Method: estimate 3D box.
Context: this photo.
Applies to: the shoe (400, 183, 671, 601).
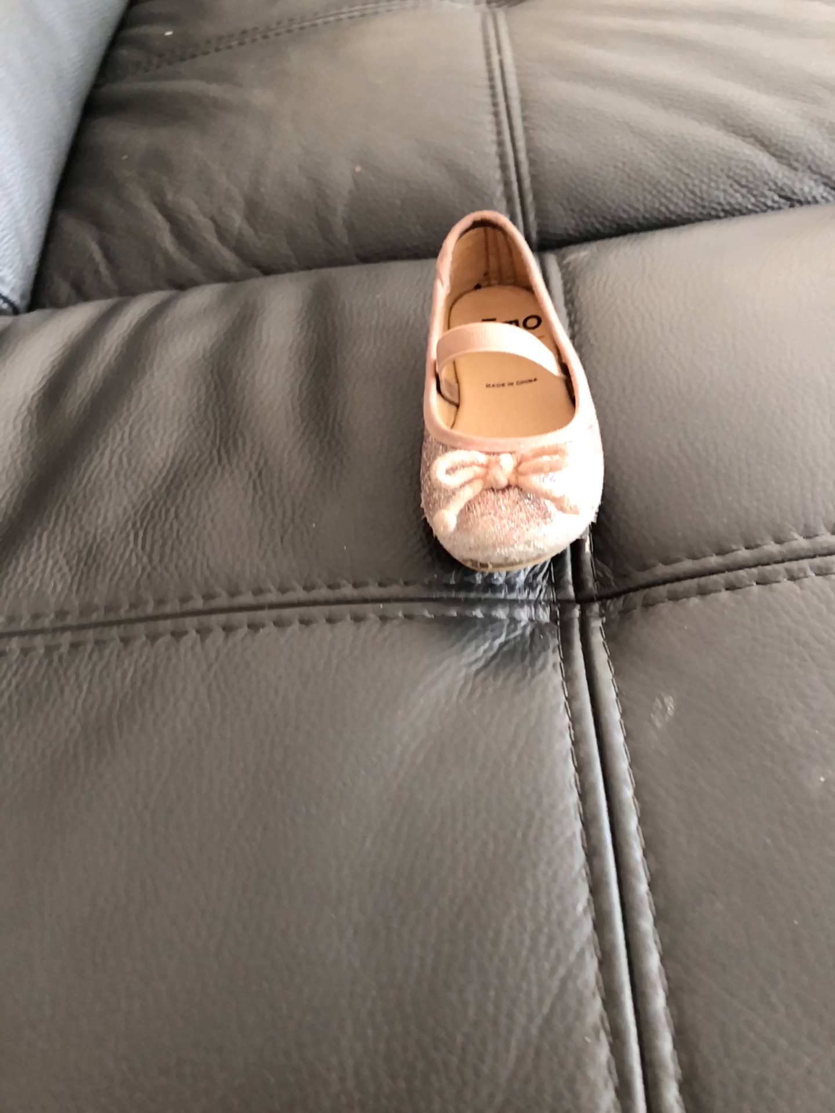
[{"bbox_3d":[0.034,-0.065,0.324,0.070,0.040,0.161,-6,52,3],"label":"shoe"}]
